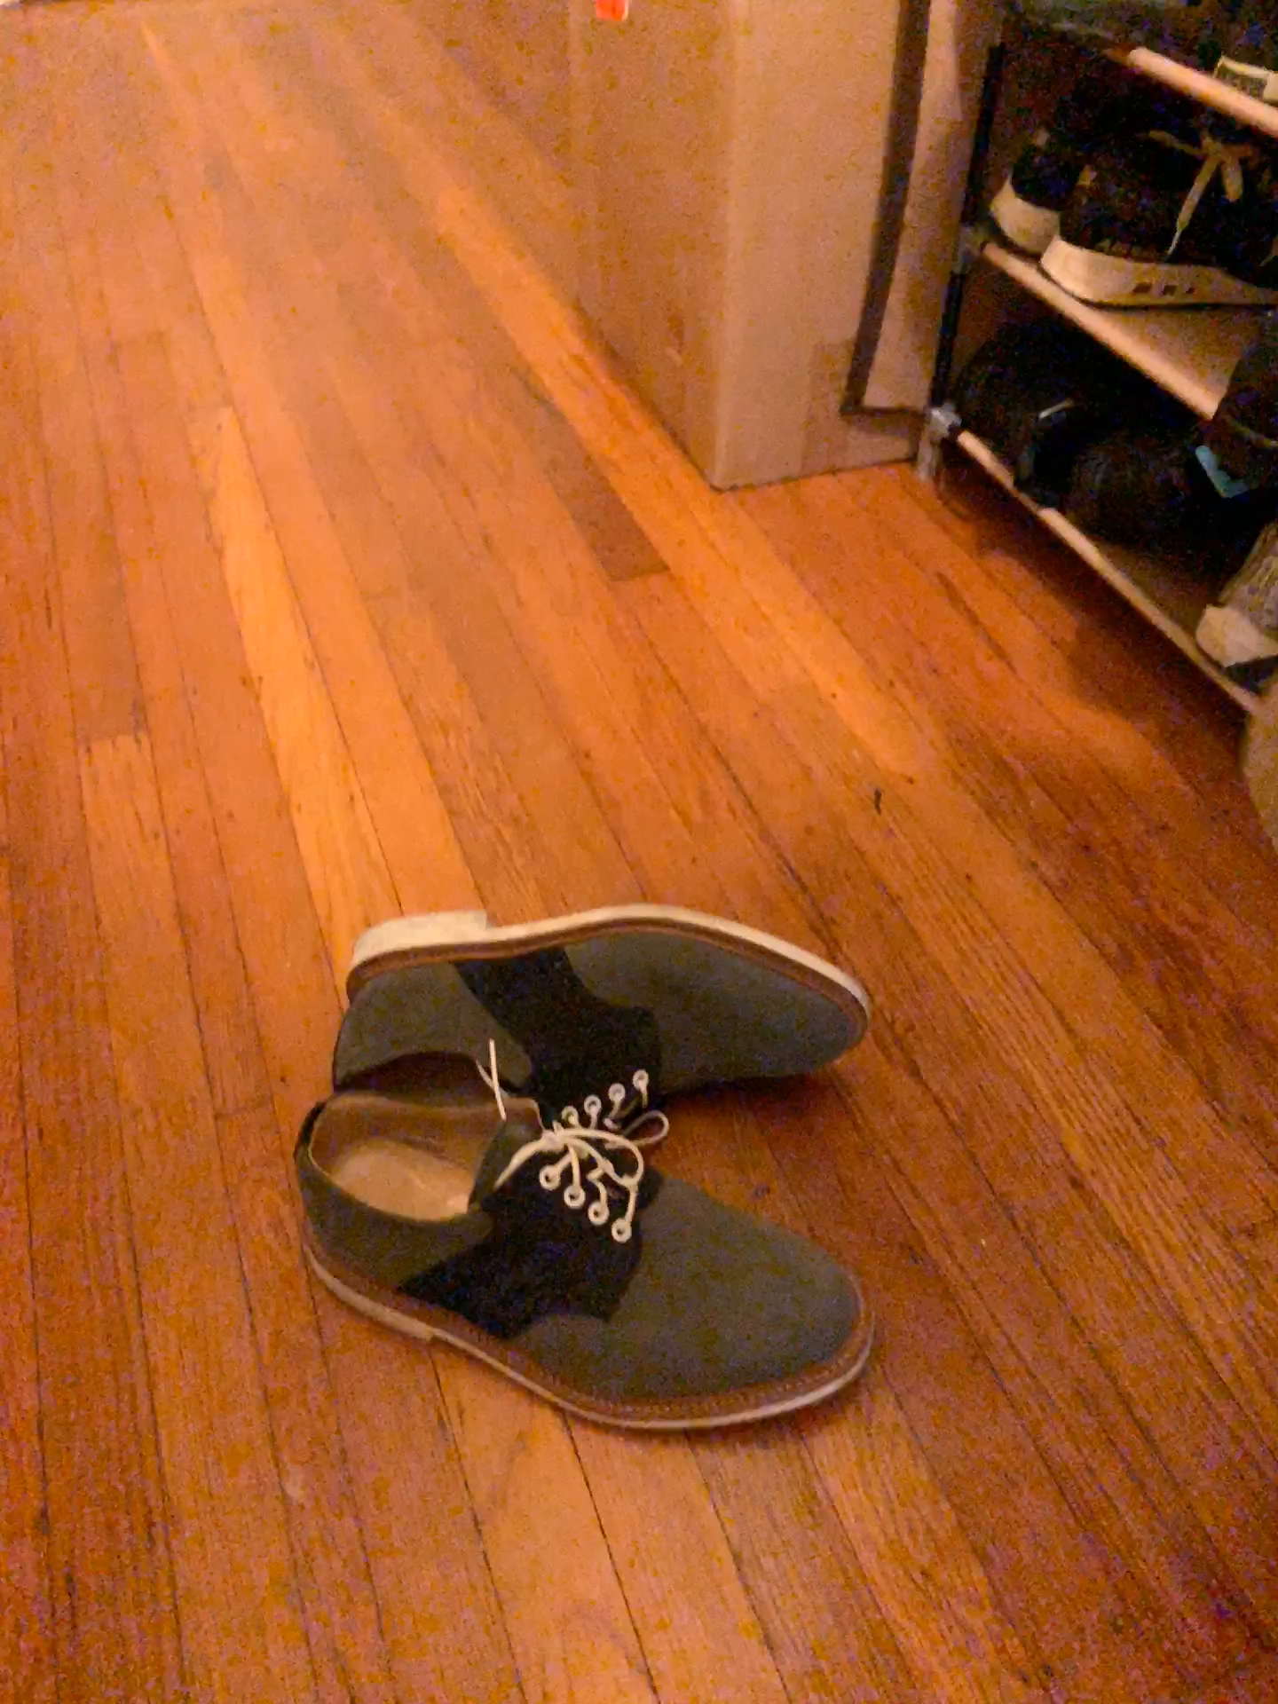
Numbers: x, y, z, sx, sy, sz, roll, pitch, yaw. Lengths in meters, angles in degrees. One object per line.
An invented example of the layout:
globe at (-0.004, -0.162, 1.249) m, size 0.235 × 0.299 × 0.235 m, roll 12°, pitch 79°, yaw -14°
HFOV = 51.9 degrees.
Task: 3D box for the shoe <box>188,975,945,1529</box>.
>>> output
shoe at (-0.031, 0.180, 0.620) m, size 0.310 × 0.099 × 0.131 m, roll 15°, pitch 48°, yaw 13°

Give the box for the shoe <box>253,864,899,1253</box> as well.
shoe at (-0.026, 0.111, 0.712) m, size 0.310 × 0.129 × 0.121 m, roll 6°, pitch 49°, yaw 6°
